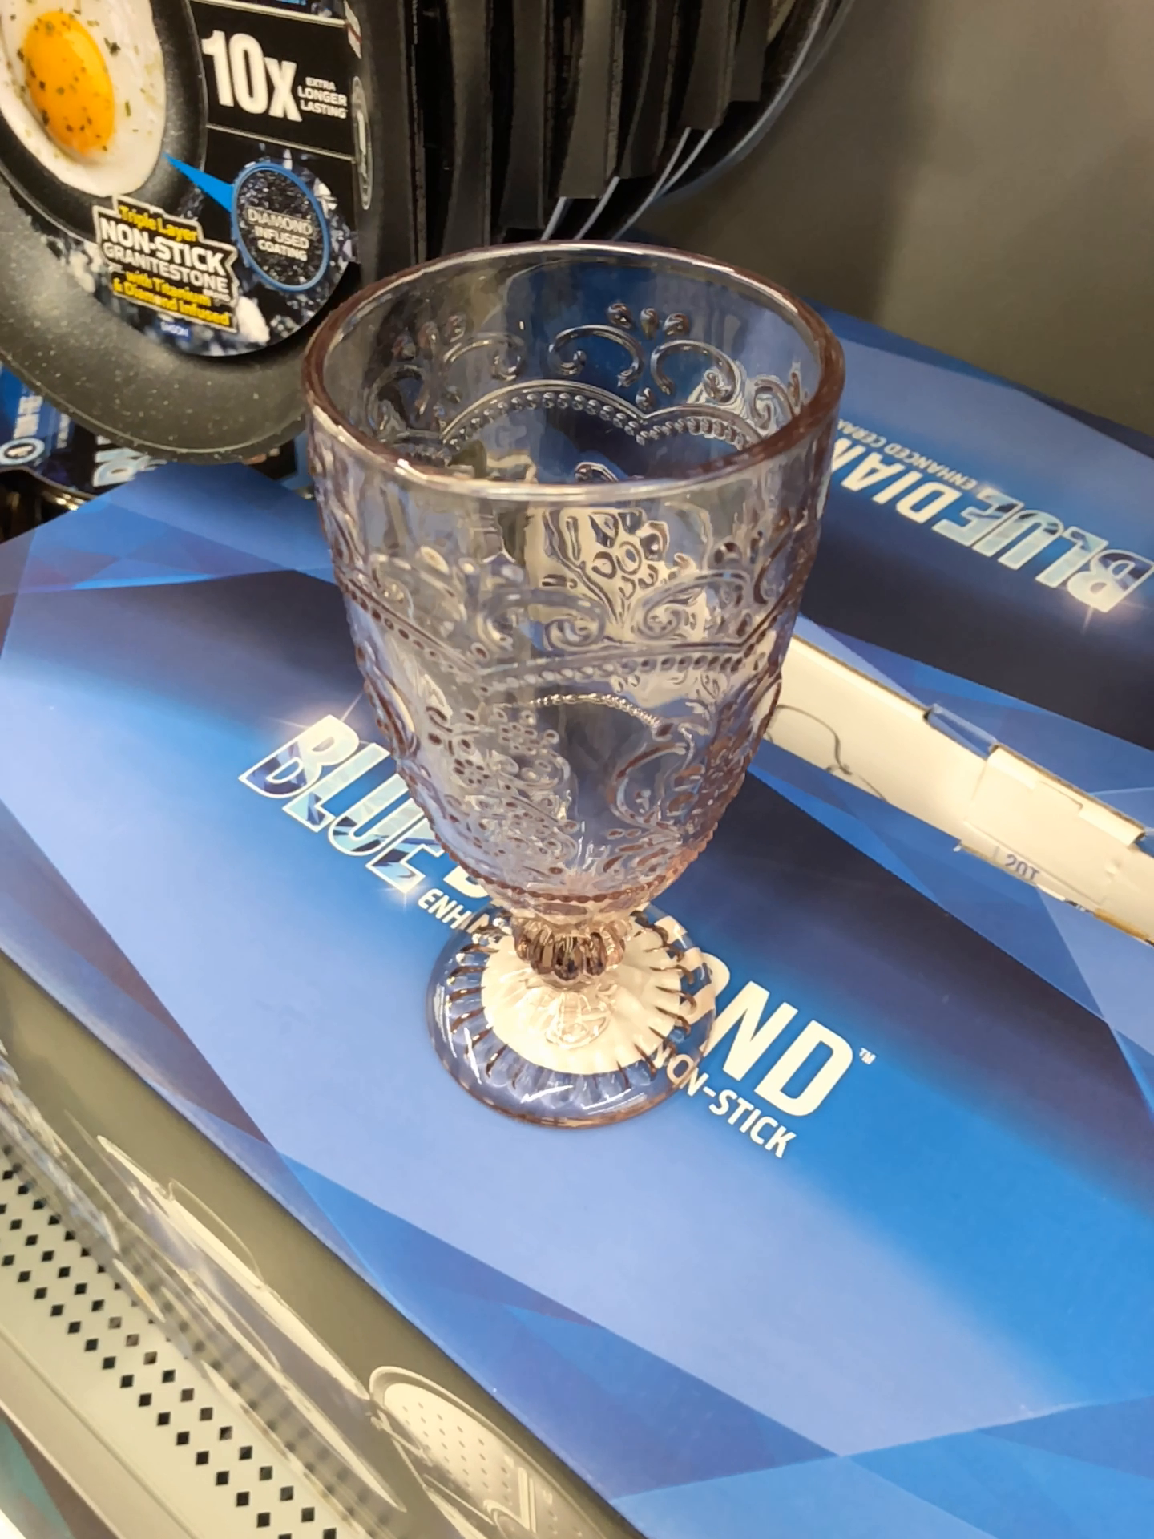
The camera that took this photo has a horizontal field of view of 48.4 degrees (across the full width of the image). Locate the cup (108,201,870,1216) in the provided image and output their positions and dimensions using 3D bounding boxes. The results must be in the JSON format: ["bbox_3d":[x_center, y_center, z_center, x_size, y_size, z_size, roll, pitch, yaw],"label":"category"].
[{"bbox_3d":[-0.007,-0.006,0.253,0.089,0.168,0.086,-1,43,1],"label":"cup"}]
